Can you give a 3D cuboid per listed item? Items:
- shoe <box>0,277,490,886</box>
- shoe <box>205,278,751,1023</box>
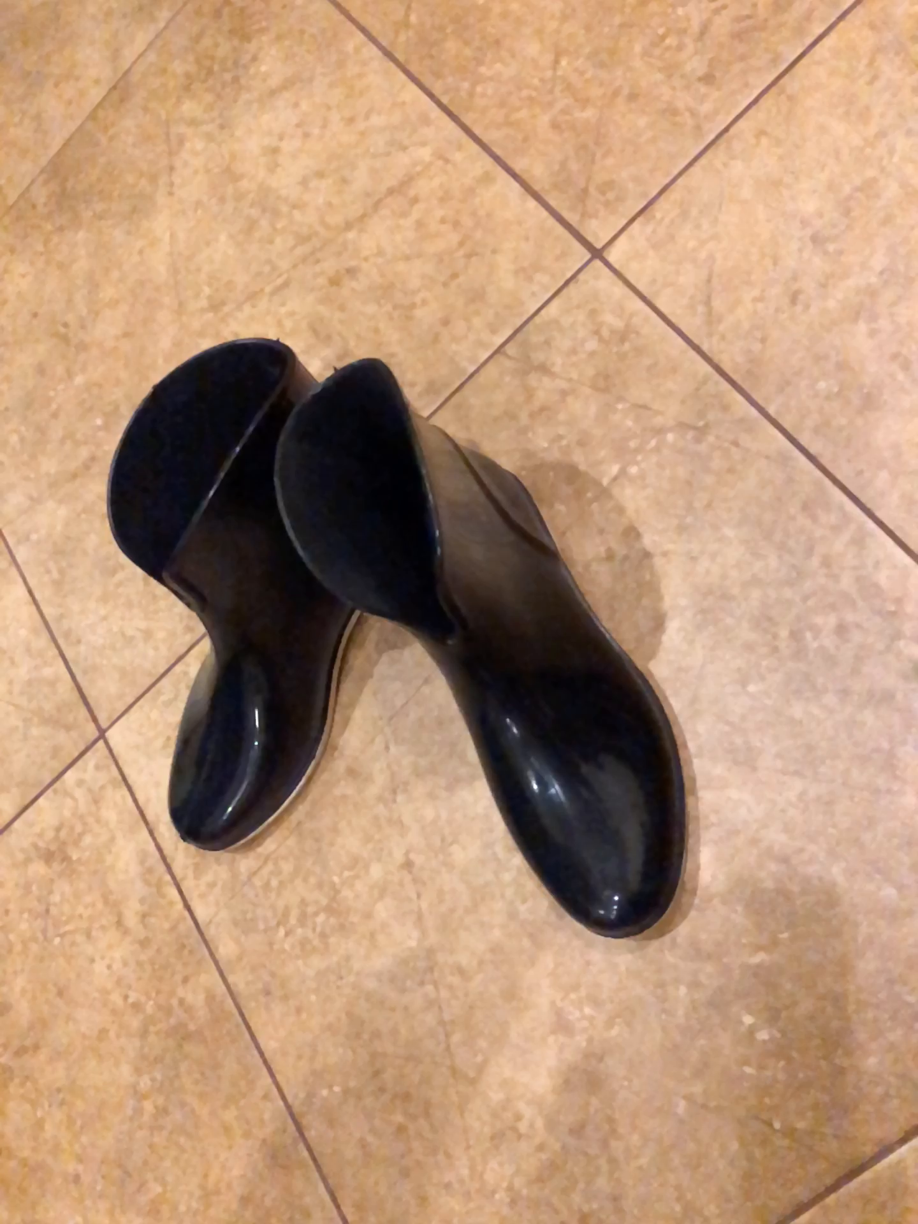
[{"bbox_3d":[-0.113,0.000,0.486,0.090,0.169,0.240,31,93,29],"label":"shoe"},{"bbox_3d":[0.012,0.020,0.416,0.090,0.169,0.241,-27,67,18],"label":"shoe"}]
